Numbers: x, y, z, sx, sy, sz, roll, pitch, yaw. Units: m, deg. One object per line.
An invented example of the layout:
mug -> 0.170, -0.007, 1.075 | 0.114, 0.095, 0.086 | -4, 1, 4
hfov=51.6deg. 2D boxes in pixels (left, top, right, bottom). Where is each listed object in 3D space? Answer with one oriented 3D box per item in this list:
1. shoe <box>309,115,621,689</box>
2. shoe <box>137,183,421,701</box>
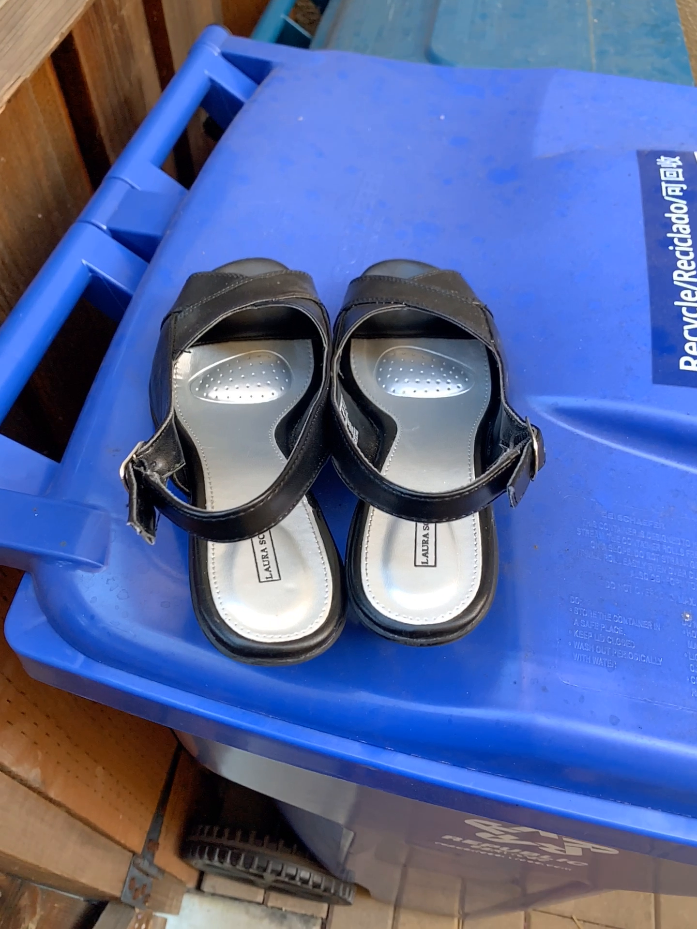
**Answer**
shoe -> 0.032, -0.042, 0.323 | 0.090, 0.099, 0.252 | -1, 54, 0
shoe -> -0.051, -0.031, 0.342 | 0.090, 0.089, 0.252 | -1, 45, -15
